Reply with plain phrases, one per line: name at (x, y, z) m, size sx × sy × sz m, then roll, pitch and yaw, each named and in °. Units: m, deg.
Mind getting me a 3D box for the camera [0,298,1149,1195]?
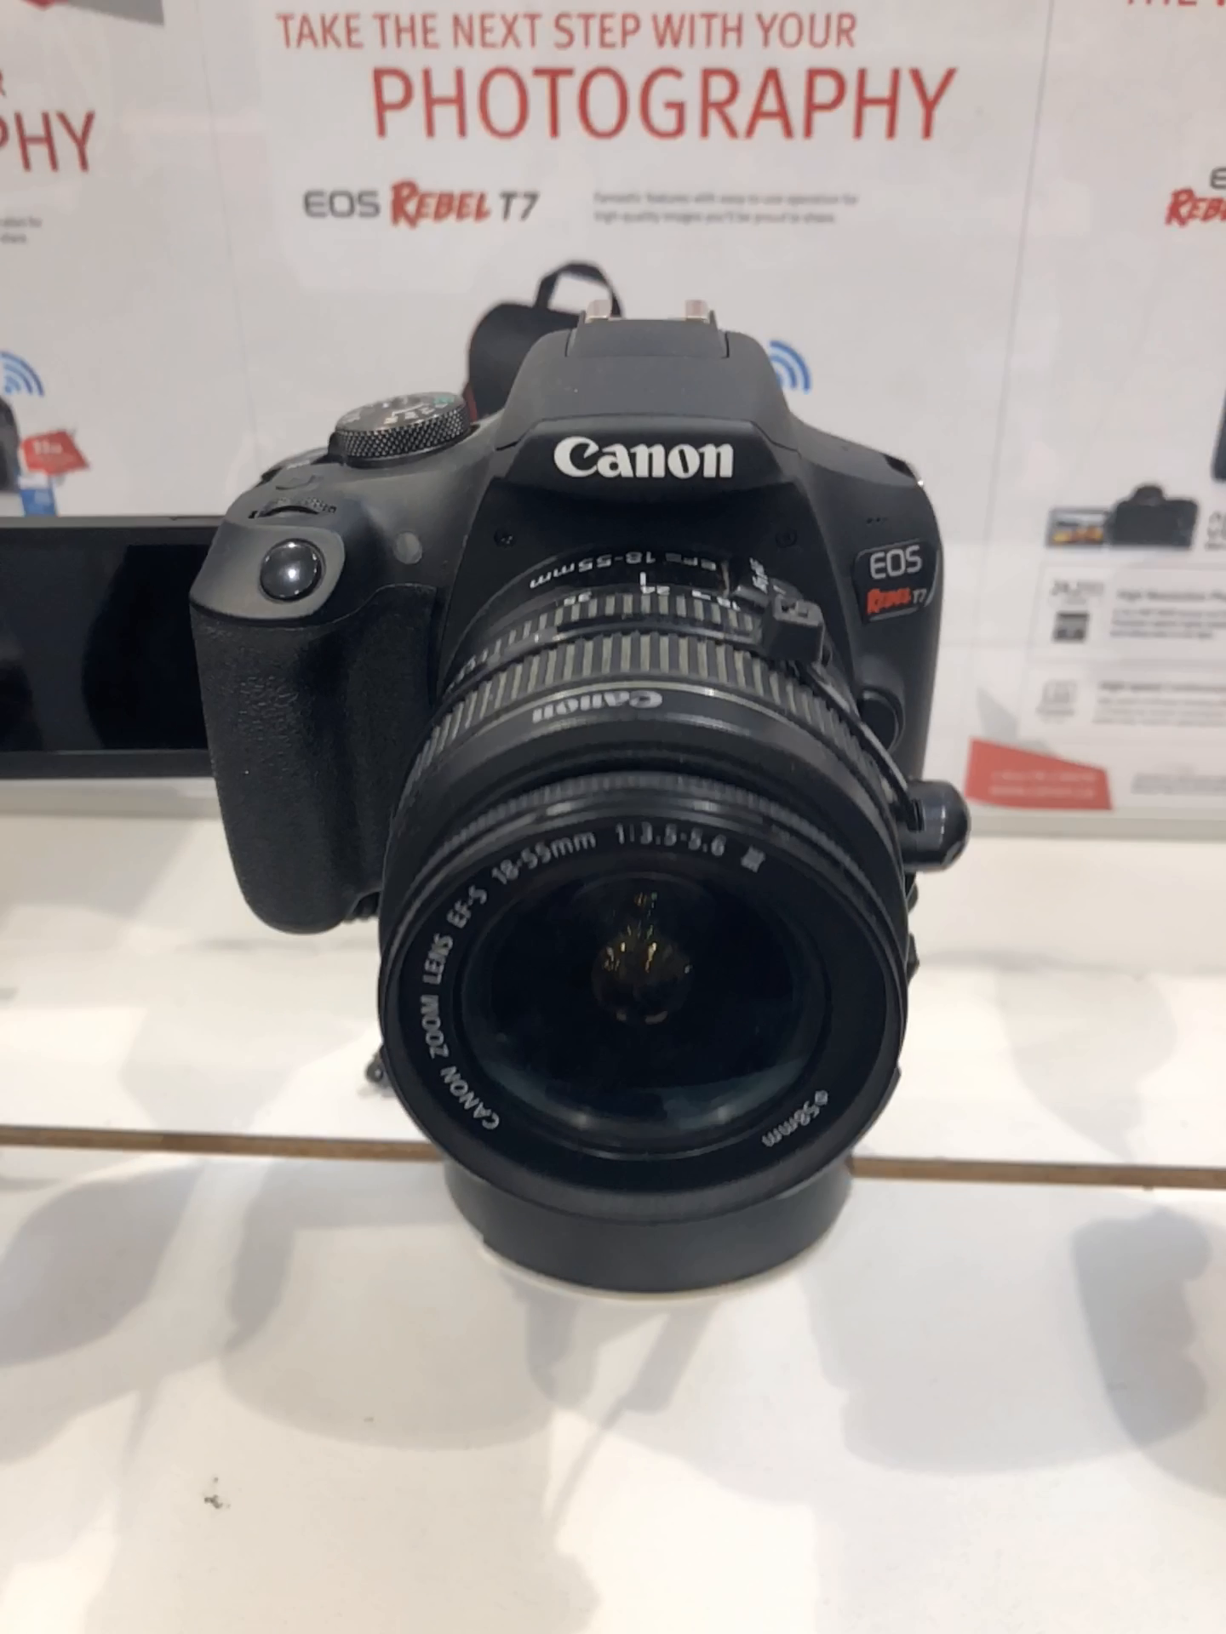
camera at (-0.007, -0.021, 0.221) m, size 0.130 × 0.099 × 0.121 m, roll 0°, pitch 30°, yaw 2°
